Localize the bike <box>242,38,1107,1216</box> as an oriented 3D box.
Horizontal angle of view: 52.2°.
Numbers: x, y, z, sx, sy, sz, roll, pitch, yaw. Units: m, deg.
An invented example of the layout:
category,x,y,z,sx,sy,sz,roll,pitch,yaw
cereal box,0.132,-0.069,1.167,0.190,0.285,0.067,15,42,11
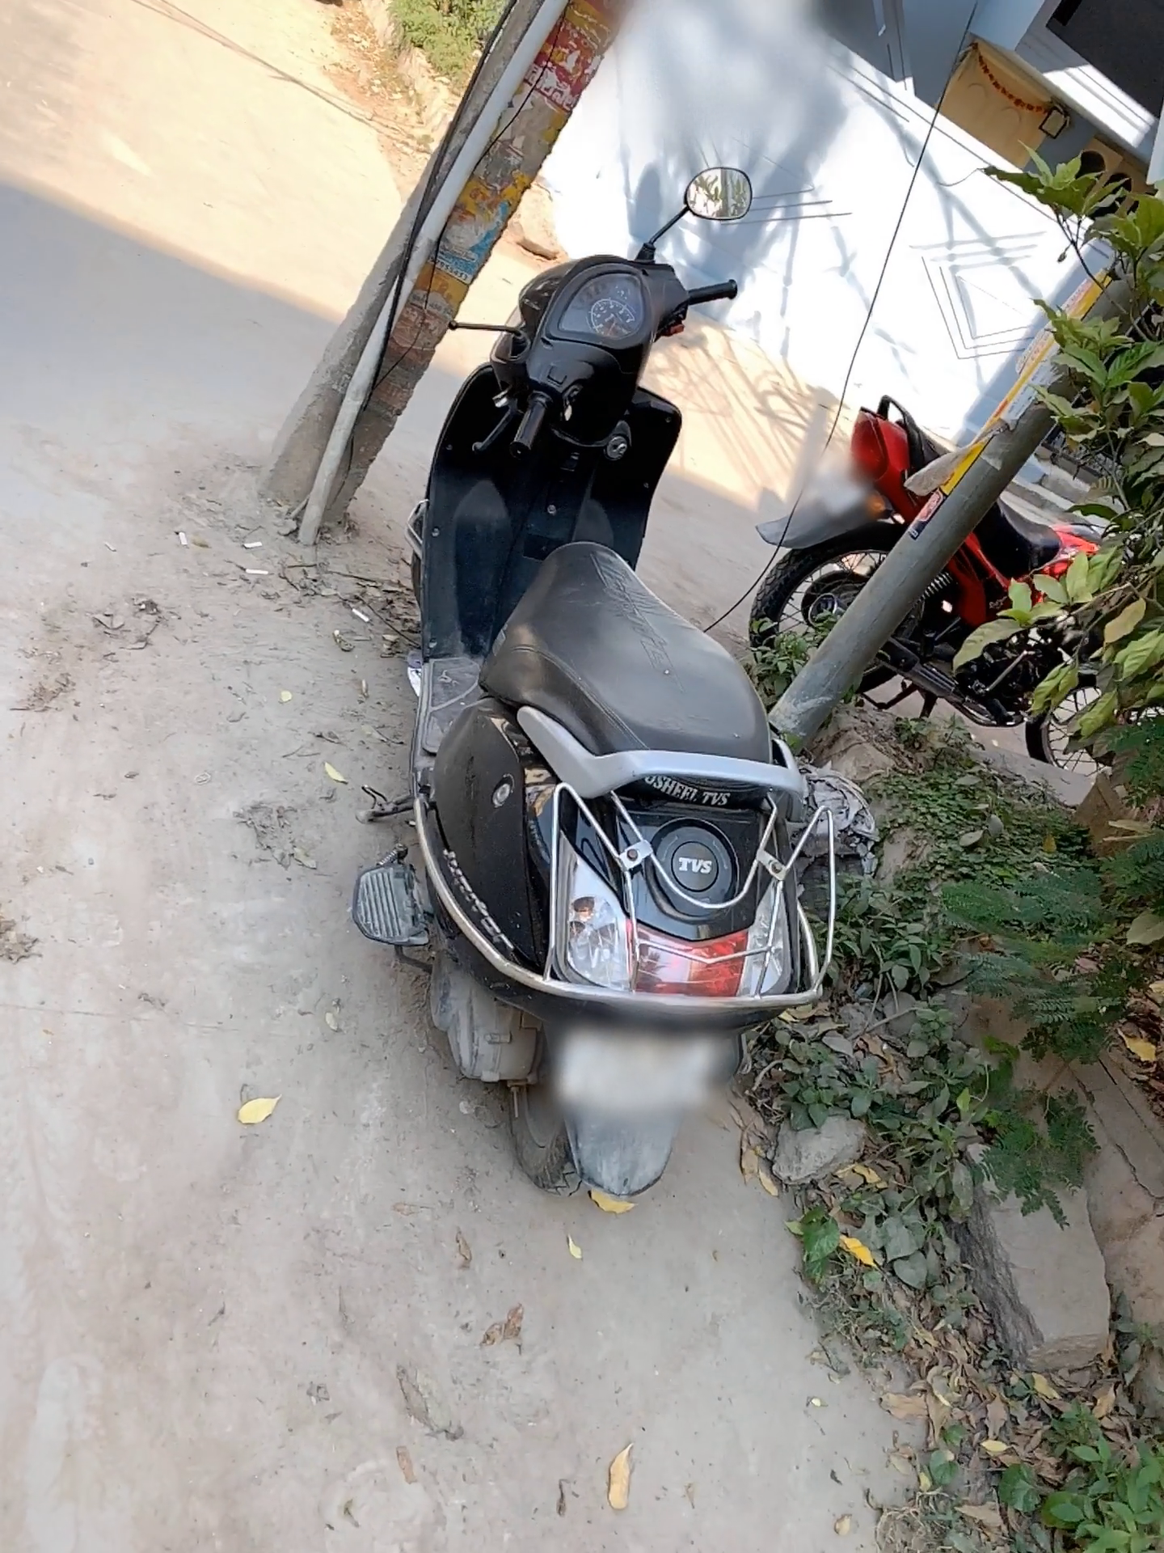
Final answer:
category,x,y,z,sx,sy,sz,roll,pitch,yaw
bike,-0.090,-0.392,2.015,0.618,0.944,1.824,16,36,-27
